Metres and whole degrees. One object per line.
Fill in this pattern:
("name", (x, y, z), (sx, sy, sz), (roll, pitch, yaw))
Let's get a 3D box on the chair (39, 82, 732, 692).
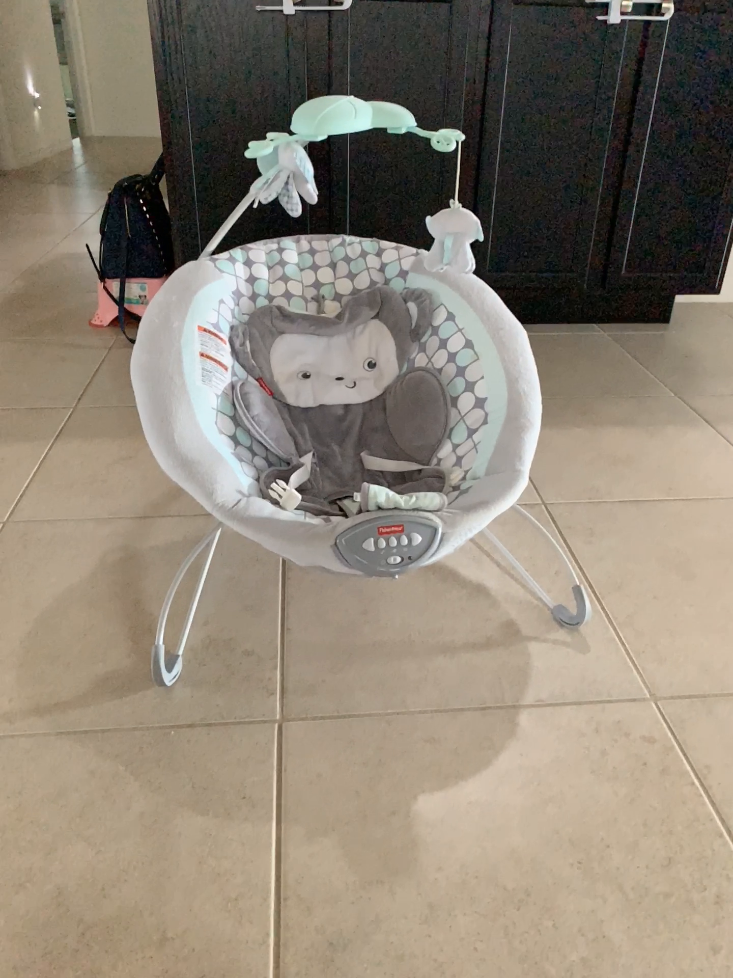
("chair", (-0.010, -0.185, 0.965), (0.571, 0.578, 0.549), (-4, 29, -9))
